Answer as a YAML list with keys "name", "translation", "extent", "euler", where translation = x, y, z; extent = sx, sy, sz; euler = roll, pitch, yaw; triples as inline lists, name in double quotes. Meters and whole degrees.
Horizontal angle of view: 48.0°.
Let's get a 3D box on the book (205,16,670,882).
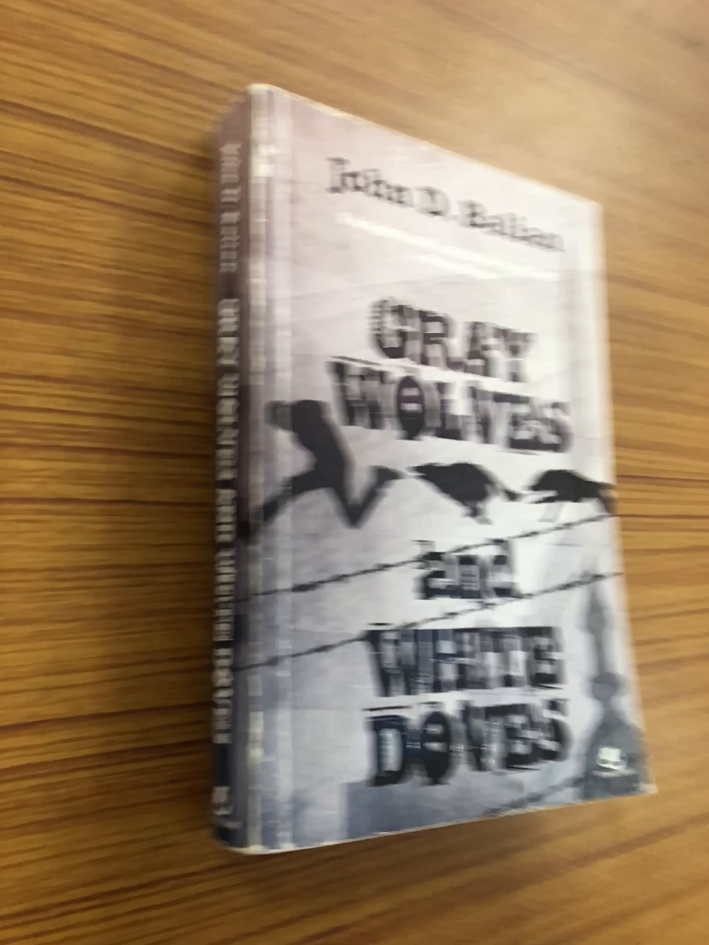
- name: "book"
  translation: [0.027, -0.008, 0.233]
  extent: [0.130, 0.030, 0.210]
  euler: [6, 77, -29]
